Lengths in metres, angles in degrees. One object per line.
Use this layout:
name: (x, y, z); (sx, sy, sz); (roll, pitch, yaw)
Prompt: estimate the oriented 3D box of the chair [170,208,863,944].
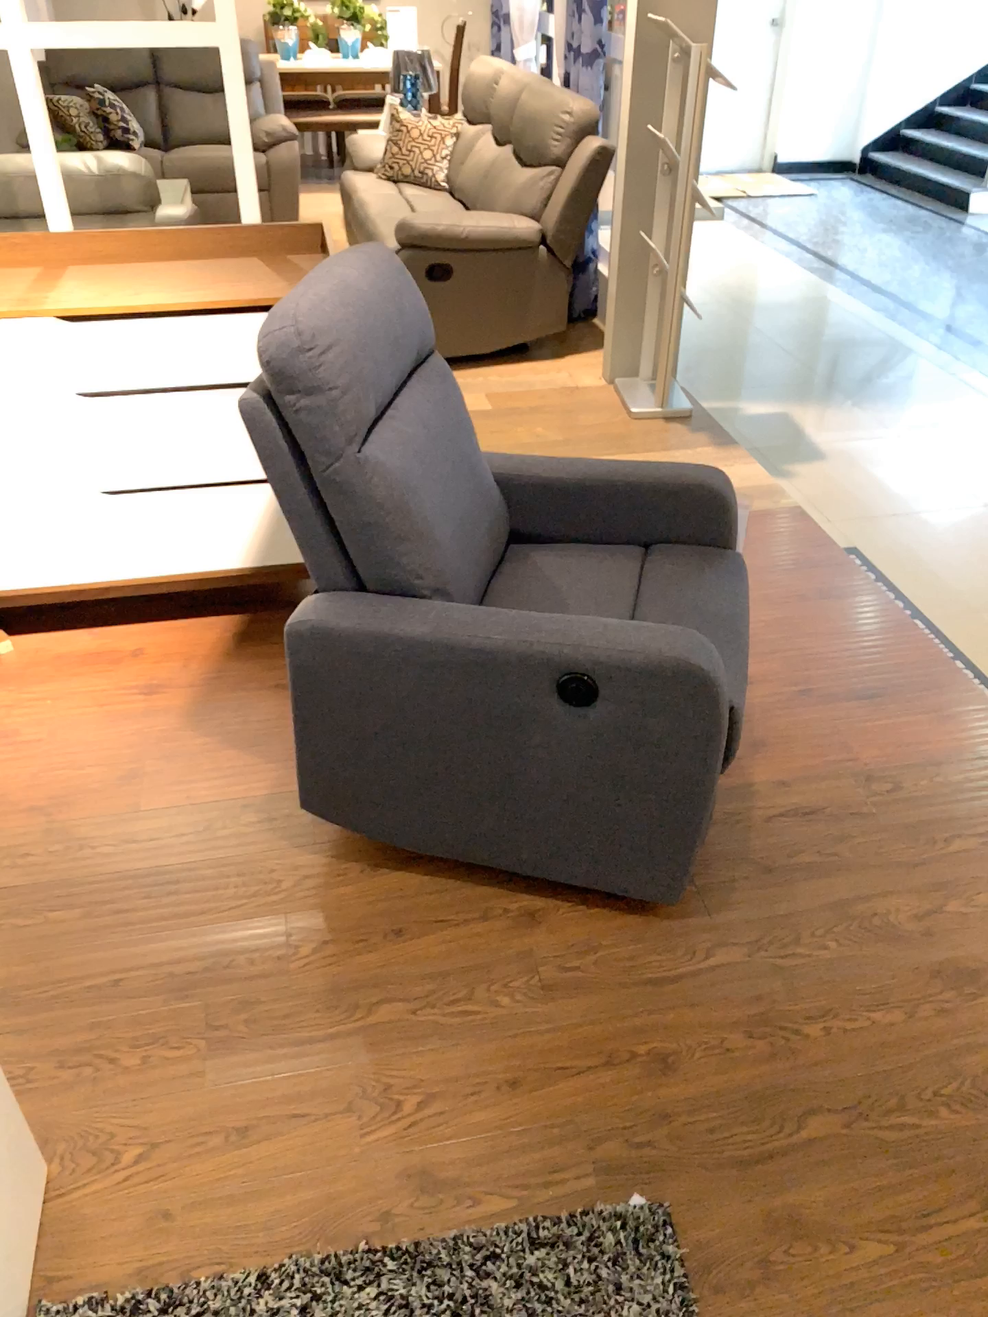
chair: (0.092, -0.217, 1.912); (0.880, 0.966, 0.934); (7, 36, 9)
